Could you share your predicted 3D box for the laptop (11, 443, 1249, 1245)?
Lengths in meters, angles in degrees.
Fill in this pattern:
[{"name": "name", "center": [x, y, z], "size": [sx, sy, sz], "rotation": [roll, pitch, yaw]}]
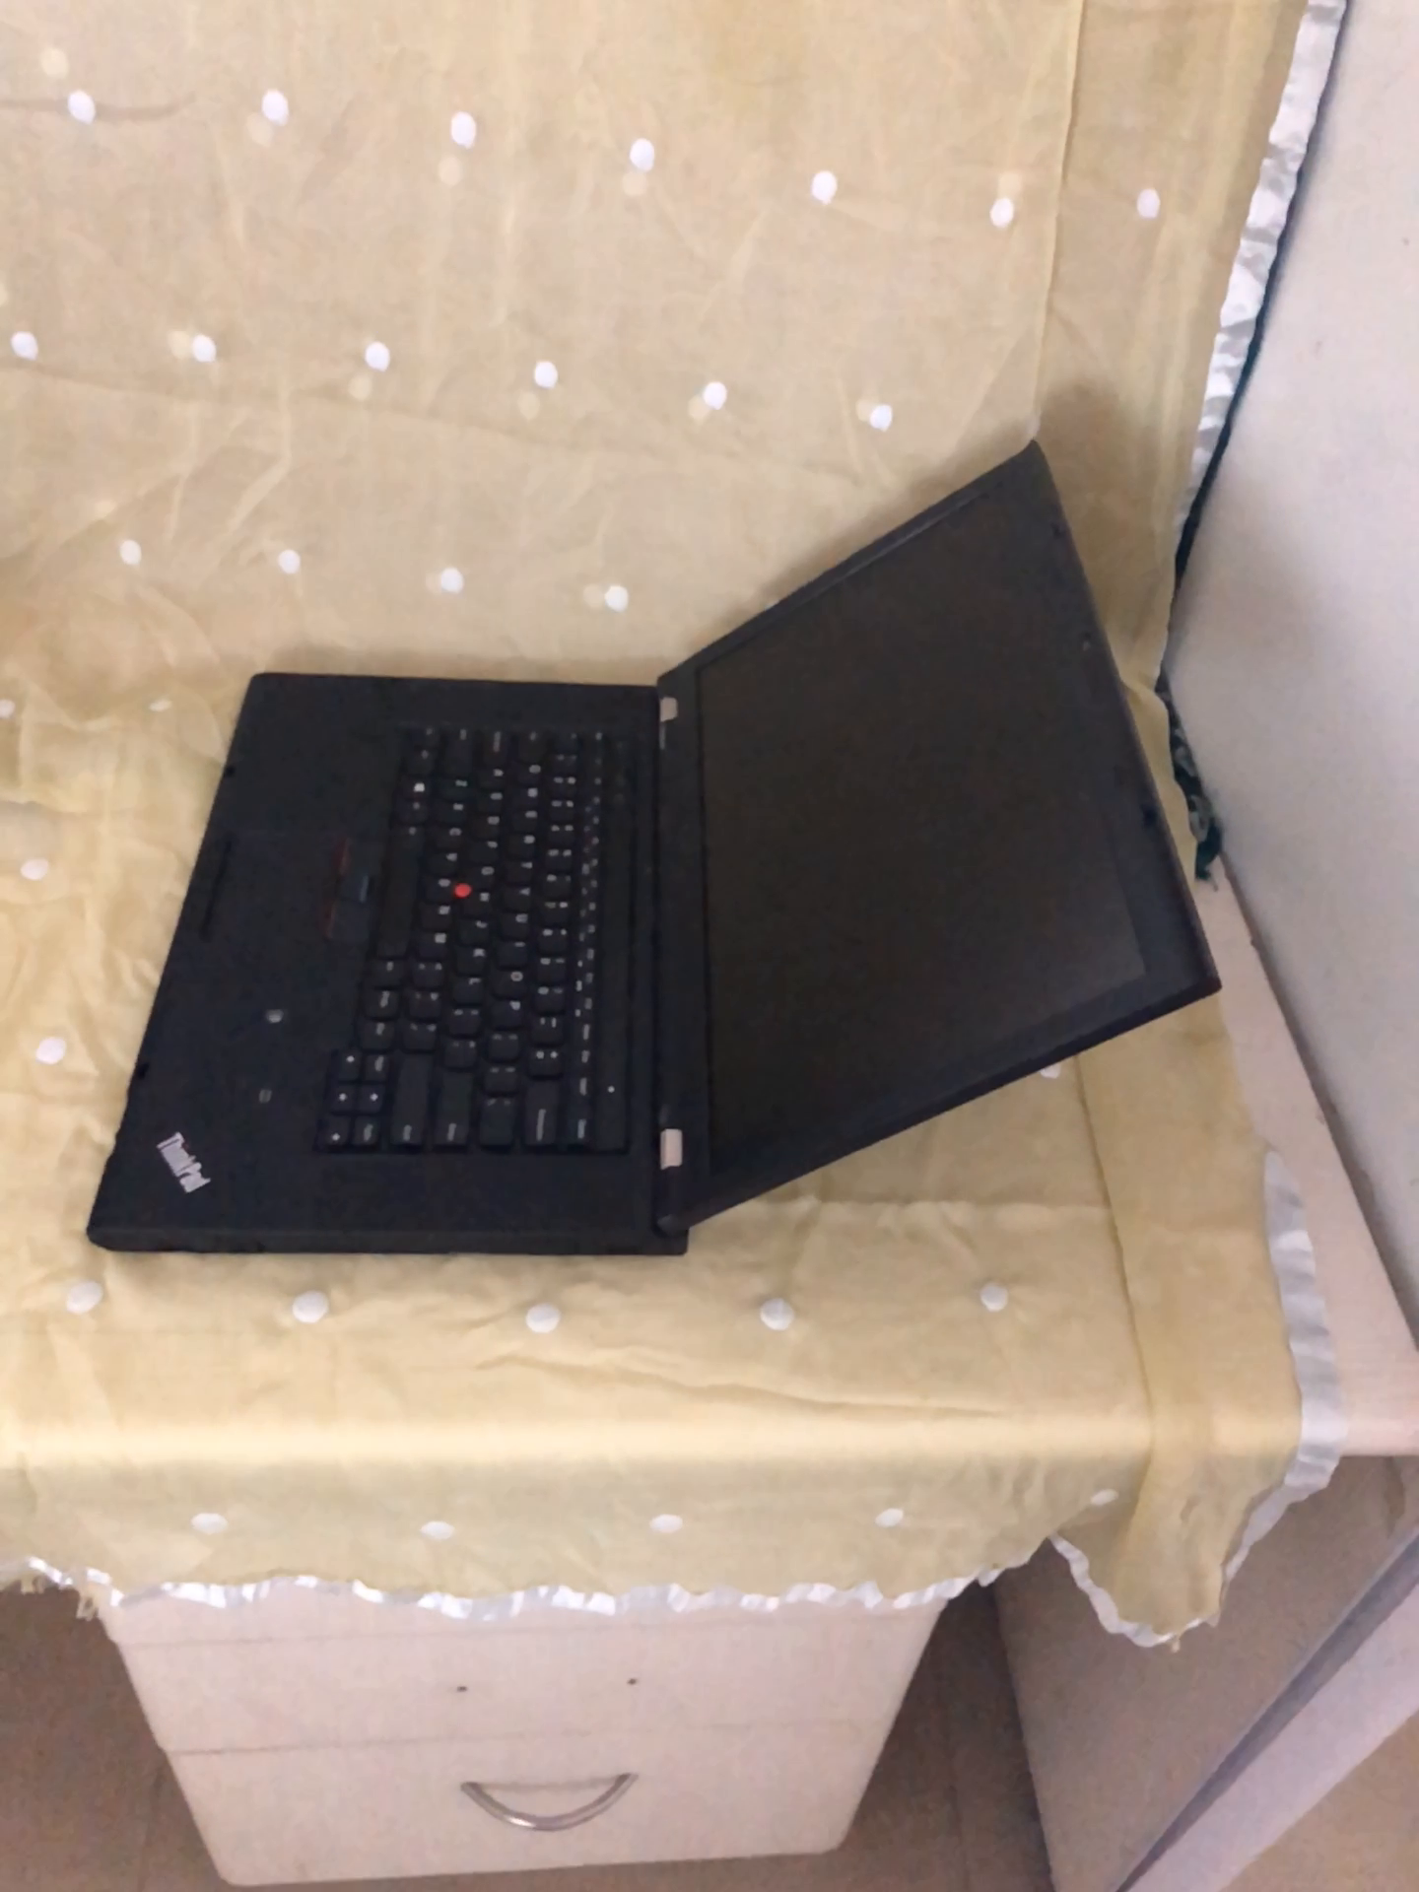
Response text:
[{"name": "laptop", "center": [-0.037, -0.064, 0.712], "size": [0.424, 0.156, 0.350], "rotation": [-1, 46, -1]}]
